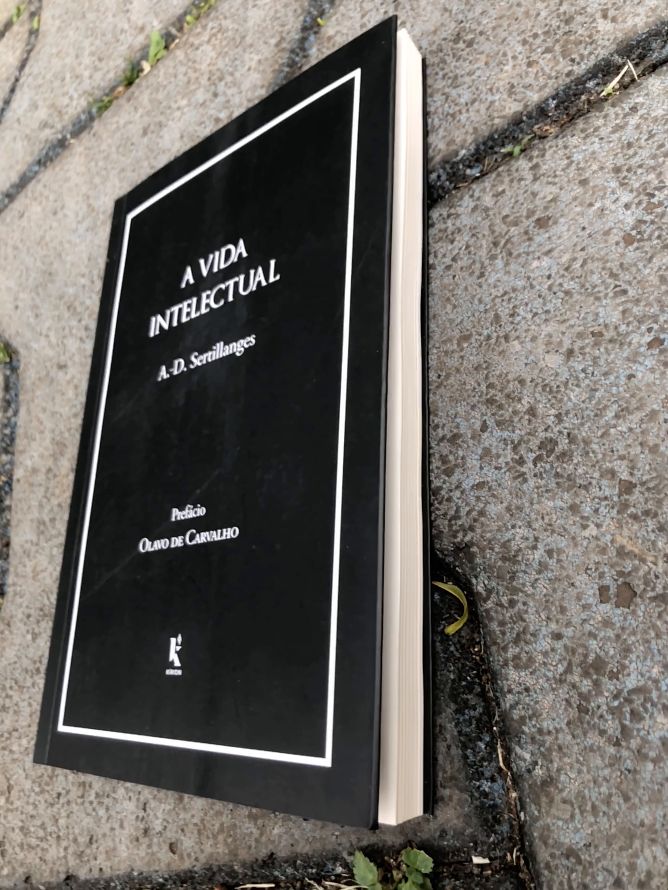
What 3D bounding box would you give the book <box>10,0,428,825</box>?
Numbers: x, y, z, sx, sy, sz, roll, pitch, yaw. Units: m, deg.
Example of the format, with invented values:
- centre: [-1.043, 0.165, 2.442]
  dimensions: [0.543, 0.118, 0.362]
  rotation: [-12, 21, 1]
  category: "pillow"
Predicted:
- centre: [-0.036, -0.010, 0.217]
  dimensions: [0.137, 0.020, 0.196]
  rotation: [-13, 67, 40]
  category: "book"
